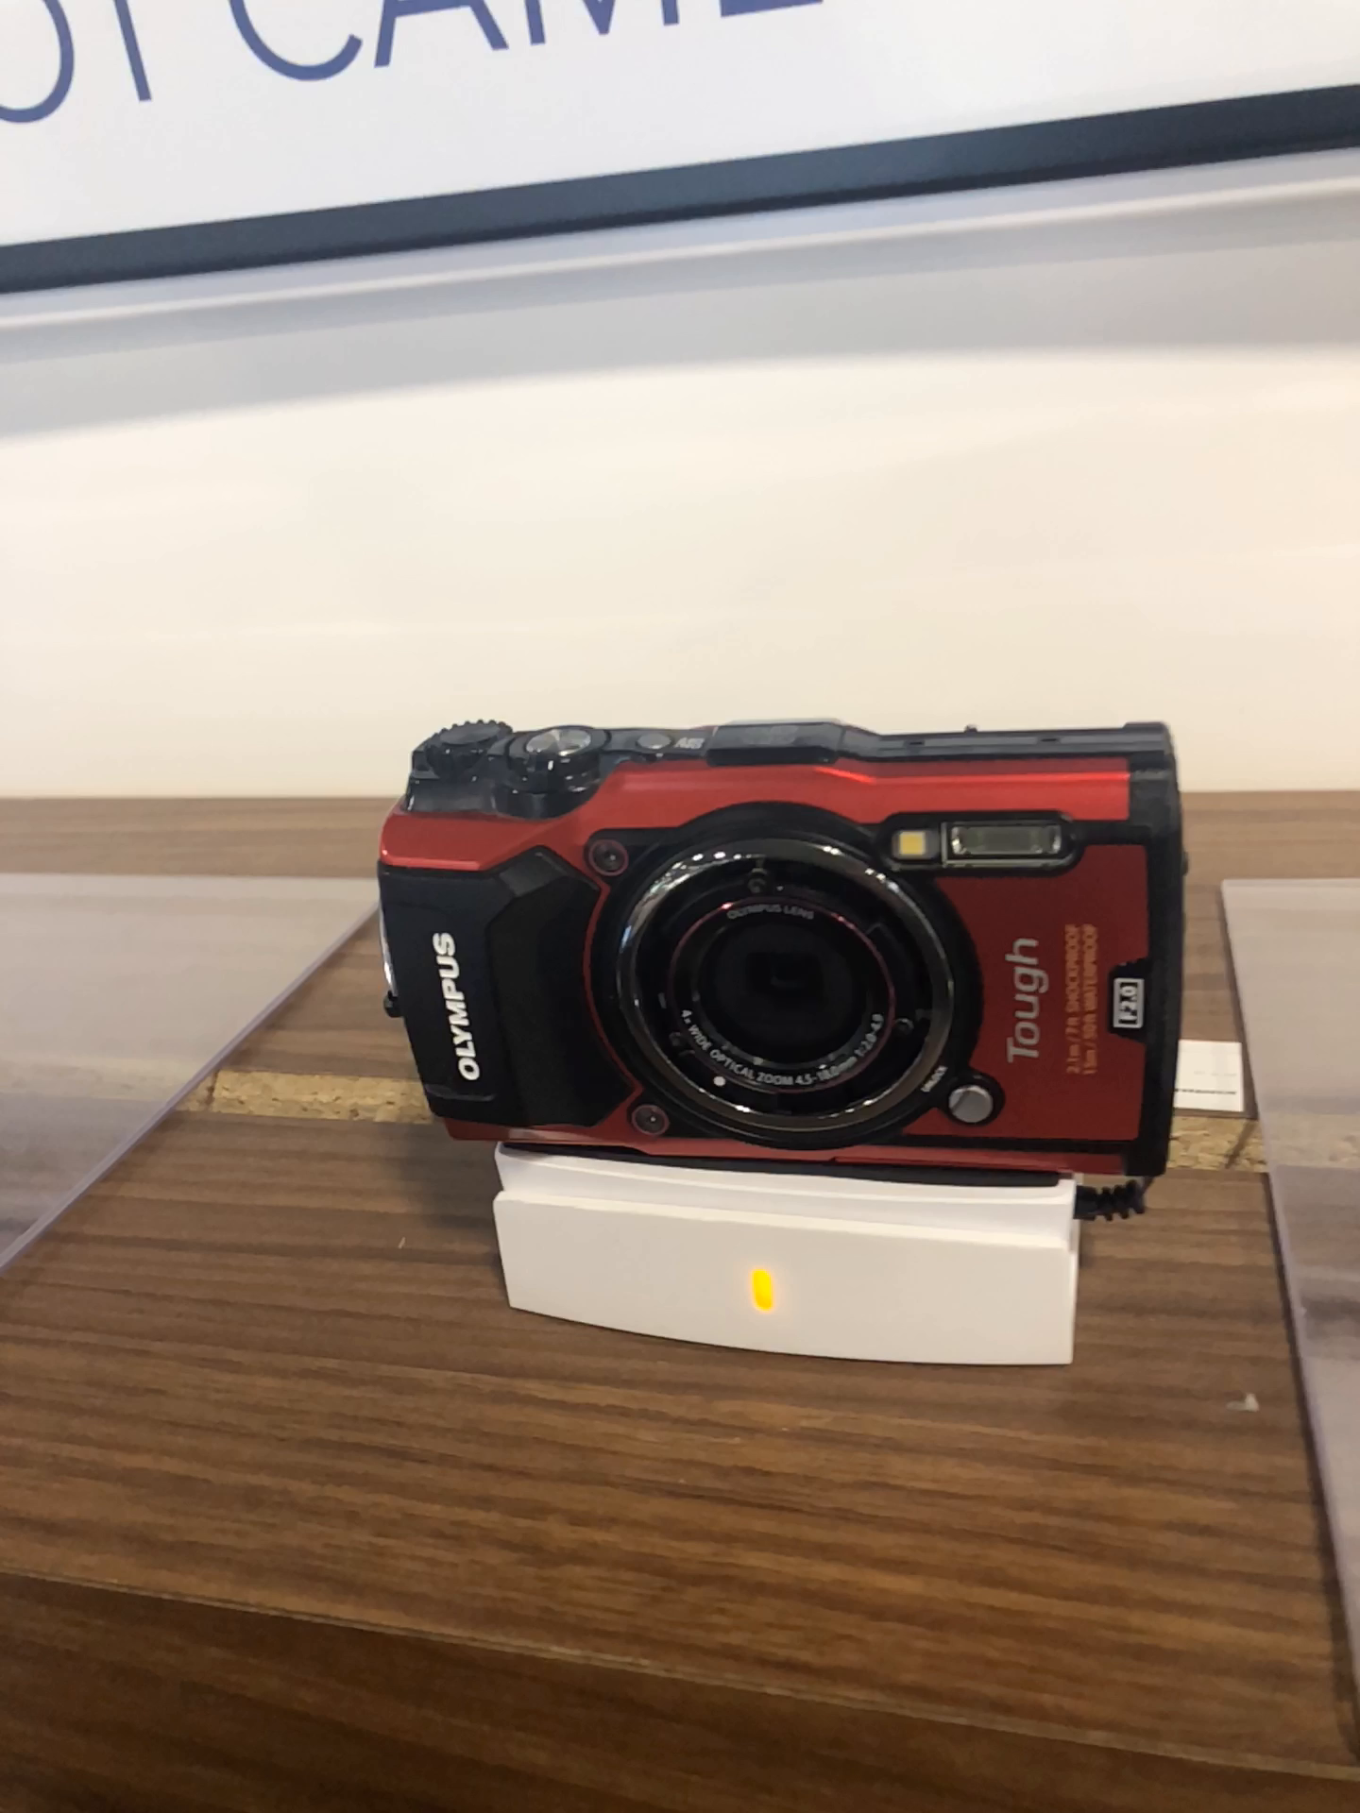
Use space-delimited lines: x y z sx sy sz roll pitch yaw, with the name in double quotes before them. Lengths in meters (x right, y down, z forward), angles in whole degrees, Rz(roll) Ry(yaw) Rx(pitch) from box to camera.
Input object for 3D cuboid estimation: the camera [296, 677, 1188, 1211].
"camera" 0.010 0.004 0.217 0.117 0.064 0.030 1 24 17
